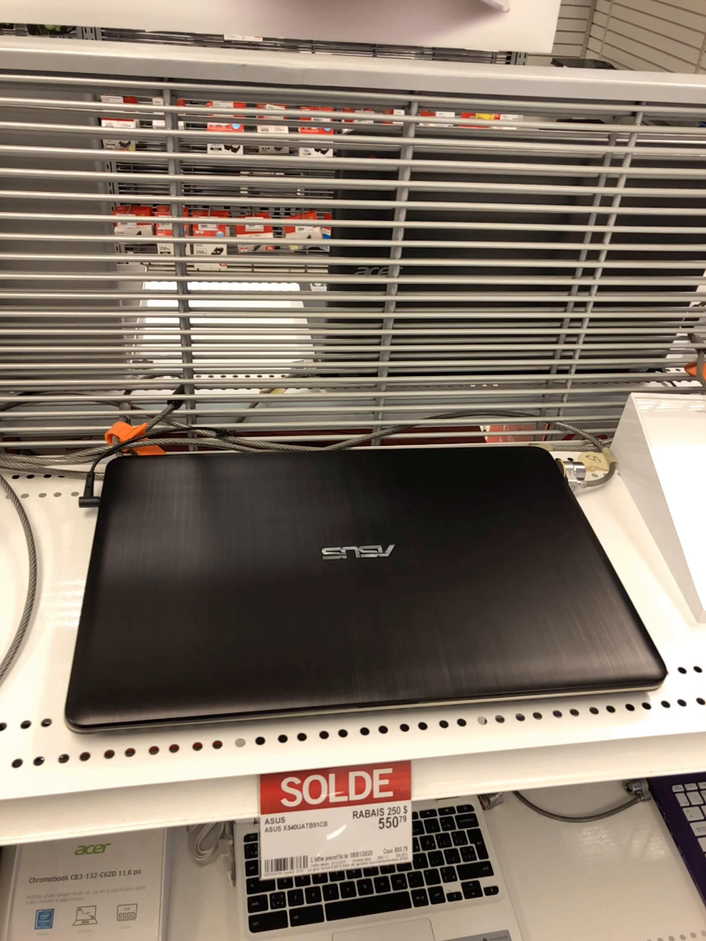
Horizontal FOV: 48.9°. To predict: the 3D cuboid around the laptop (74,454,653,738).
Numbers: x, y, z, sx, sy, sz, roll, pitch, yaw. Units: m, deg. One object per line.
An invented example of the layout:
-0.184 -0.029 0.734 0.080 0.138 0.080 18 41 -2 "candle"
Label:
0.006 0.070 0.573 0.367 0.013 0.235 -1 40 -11 "laptop"
